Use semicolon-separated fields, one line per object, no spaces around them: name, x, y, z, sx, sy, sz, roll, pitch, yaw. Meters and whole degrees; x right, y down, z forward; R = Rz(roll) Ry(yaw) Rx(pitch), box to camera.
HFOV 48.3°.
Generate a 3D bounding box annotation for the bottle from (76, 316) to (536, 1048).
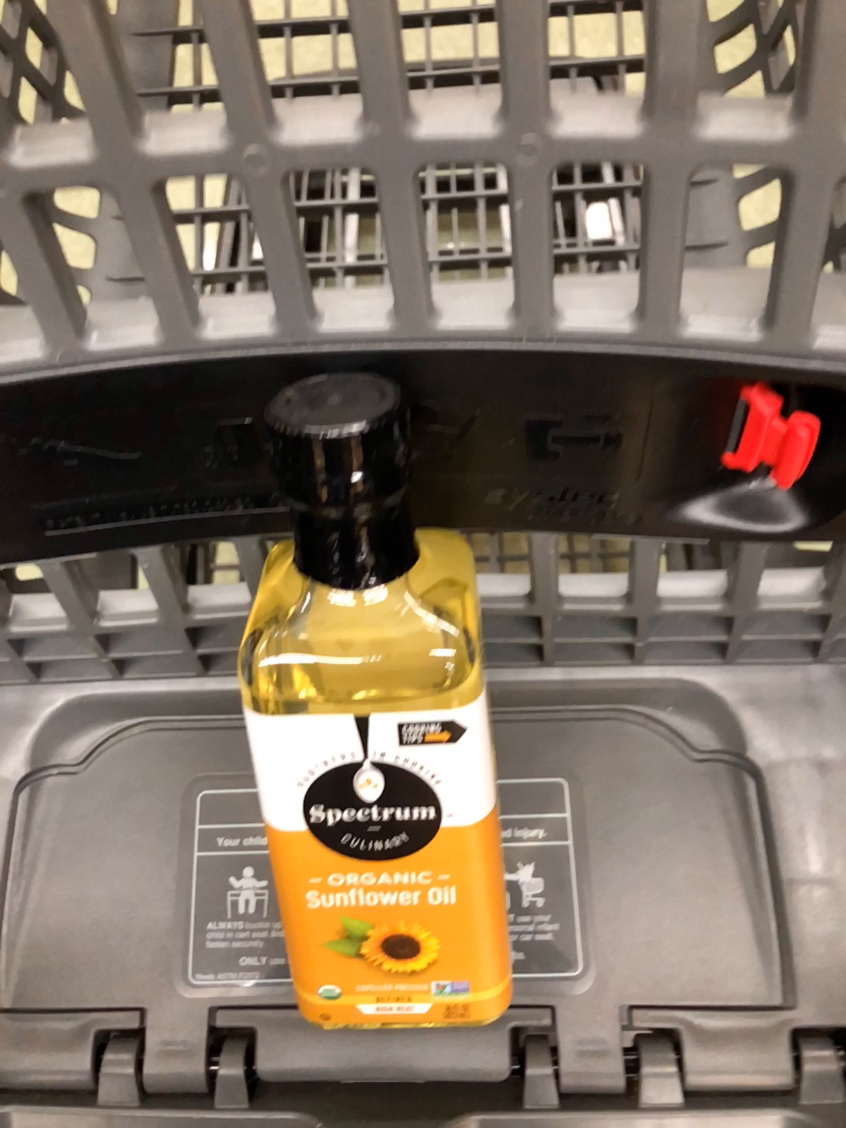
bottle;-0.014;0.045;0.254;0.080;0.201;0.070;-4;37;3
